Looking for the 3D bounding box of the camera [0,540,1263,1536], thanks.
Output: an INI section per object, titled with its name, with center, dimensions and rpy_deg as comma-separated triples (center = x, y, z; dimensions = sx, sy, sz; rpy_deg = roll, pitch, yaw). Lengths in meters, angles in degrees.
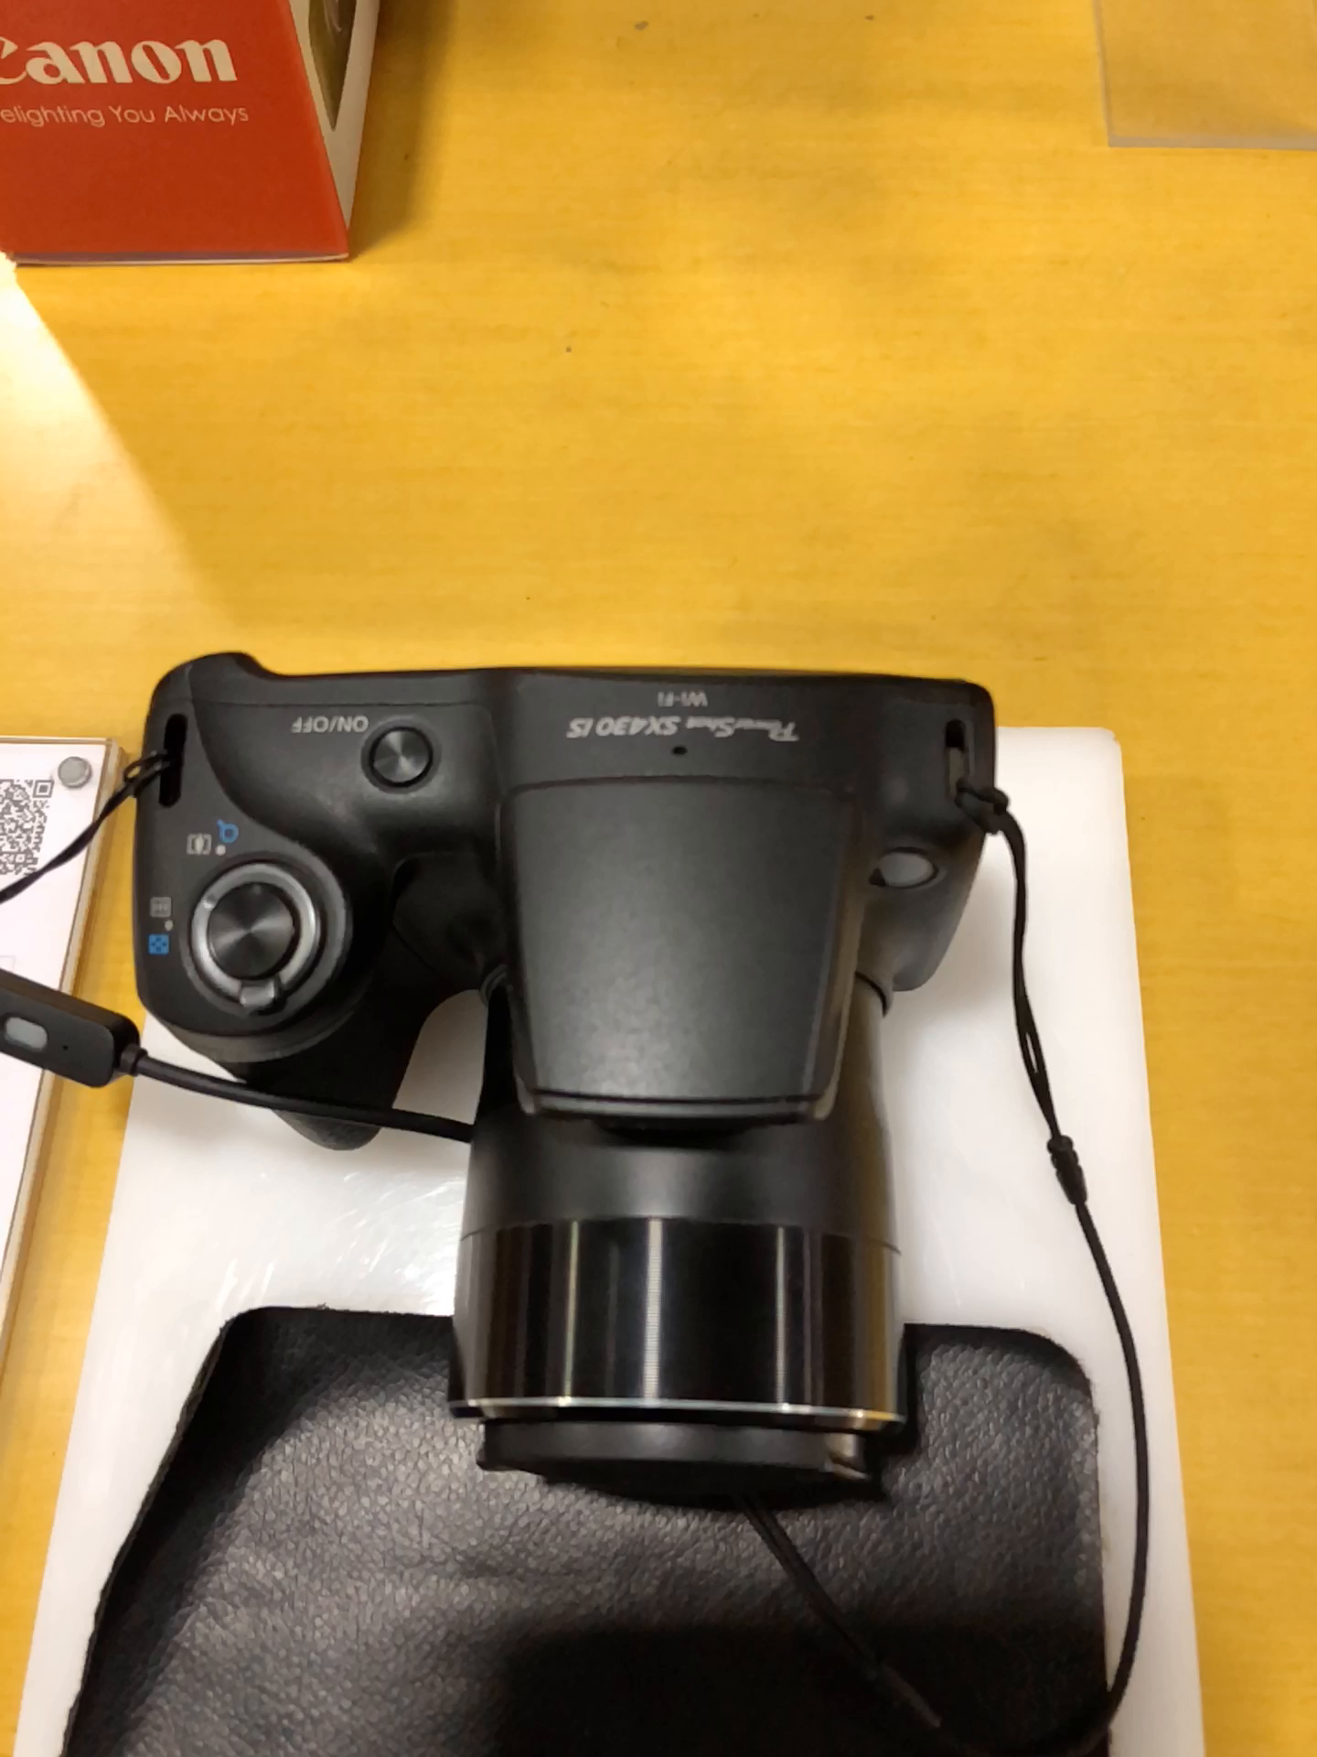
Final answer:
[camera]
center = -0.007, 0.025, 0.172
dimensions = 0.110, 0.090, 0.090
rpy_deg = 1, 67, 2
